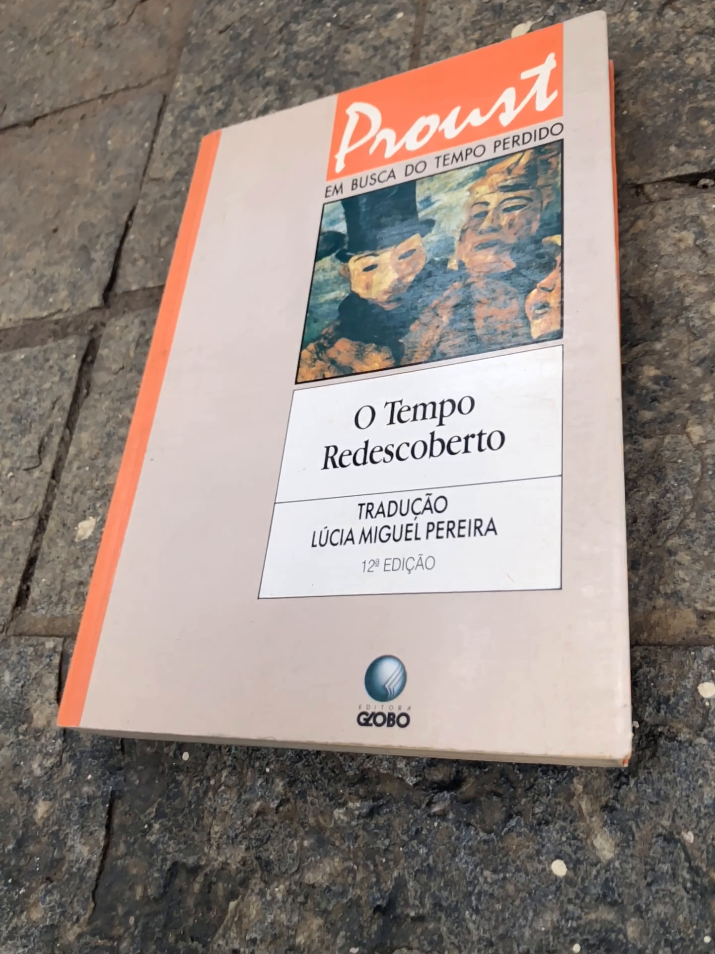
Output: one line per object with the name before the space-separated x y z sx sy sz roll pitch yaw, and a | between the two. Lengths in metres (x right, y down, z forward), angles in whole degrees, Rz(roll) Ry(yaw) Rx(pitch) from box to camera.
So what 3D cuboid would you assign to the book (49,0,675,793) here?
book | 0.004 -0.031 0.209 0.134 0.023 0.200 -5 63 24
